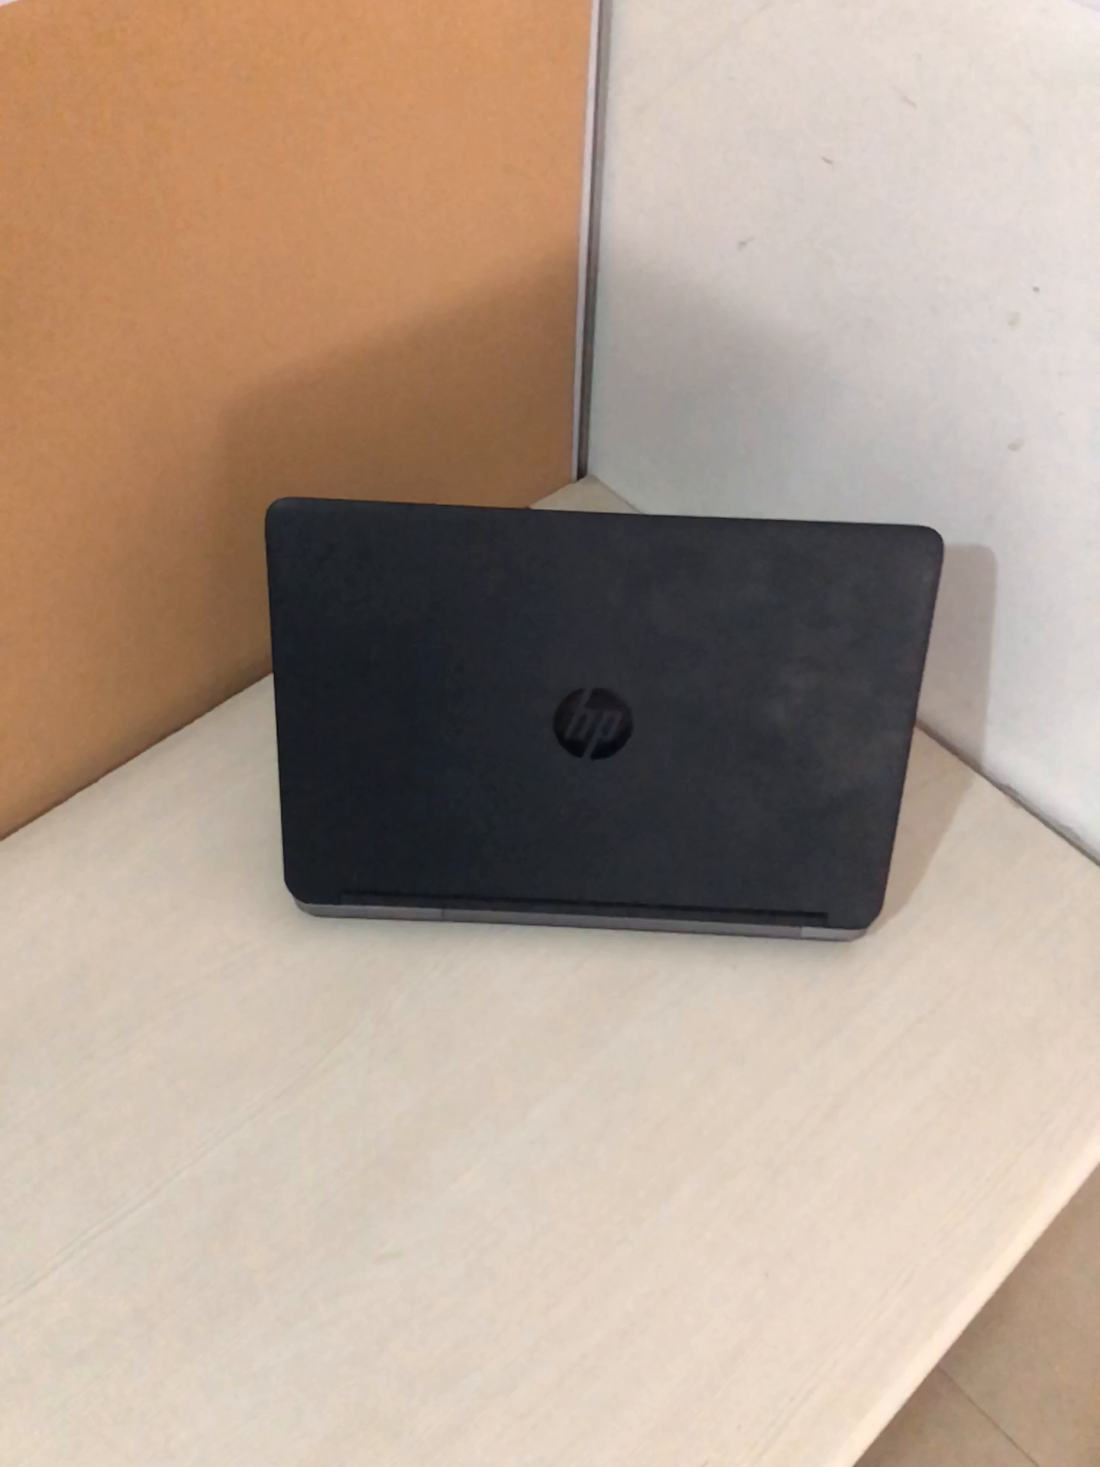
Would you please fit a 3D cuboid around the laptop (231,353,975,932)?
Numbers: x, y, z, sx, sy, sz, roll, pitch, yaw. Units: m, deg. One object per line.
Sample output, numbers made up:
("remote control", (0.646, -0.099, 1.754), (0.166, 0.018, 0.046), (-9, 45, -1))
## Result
("laptop", (0.023, -0.048, 0.663), (0.318, 0.193, 0.228), (3, 53, 0))
